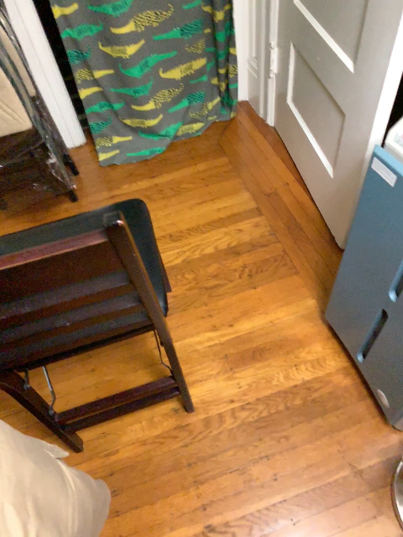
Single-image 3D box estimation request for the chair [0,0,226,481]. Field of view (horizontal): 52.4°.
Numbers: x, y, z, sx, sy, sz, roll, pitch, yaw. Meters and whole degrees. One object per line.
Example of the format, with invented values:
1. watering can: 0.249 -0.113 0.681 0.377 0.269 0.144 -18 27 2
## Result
1. chair: -0.298 -0.002 0.890 0.490 0.866 0.553 -19 53 -7
